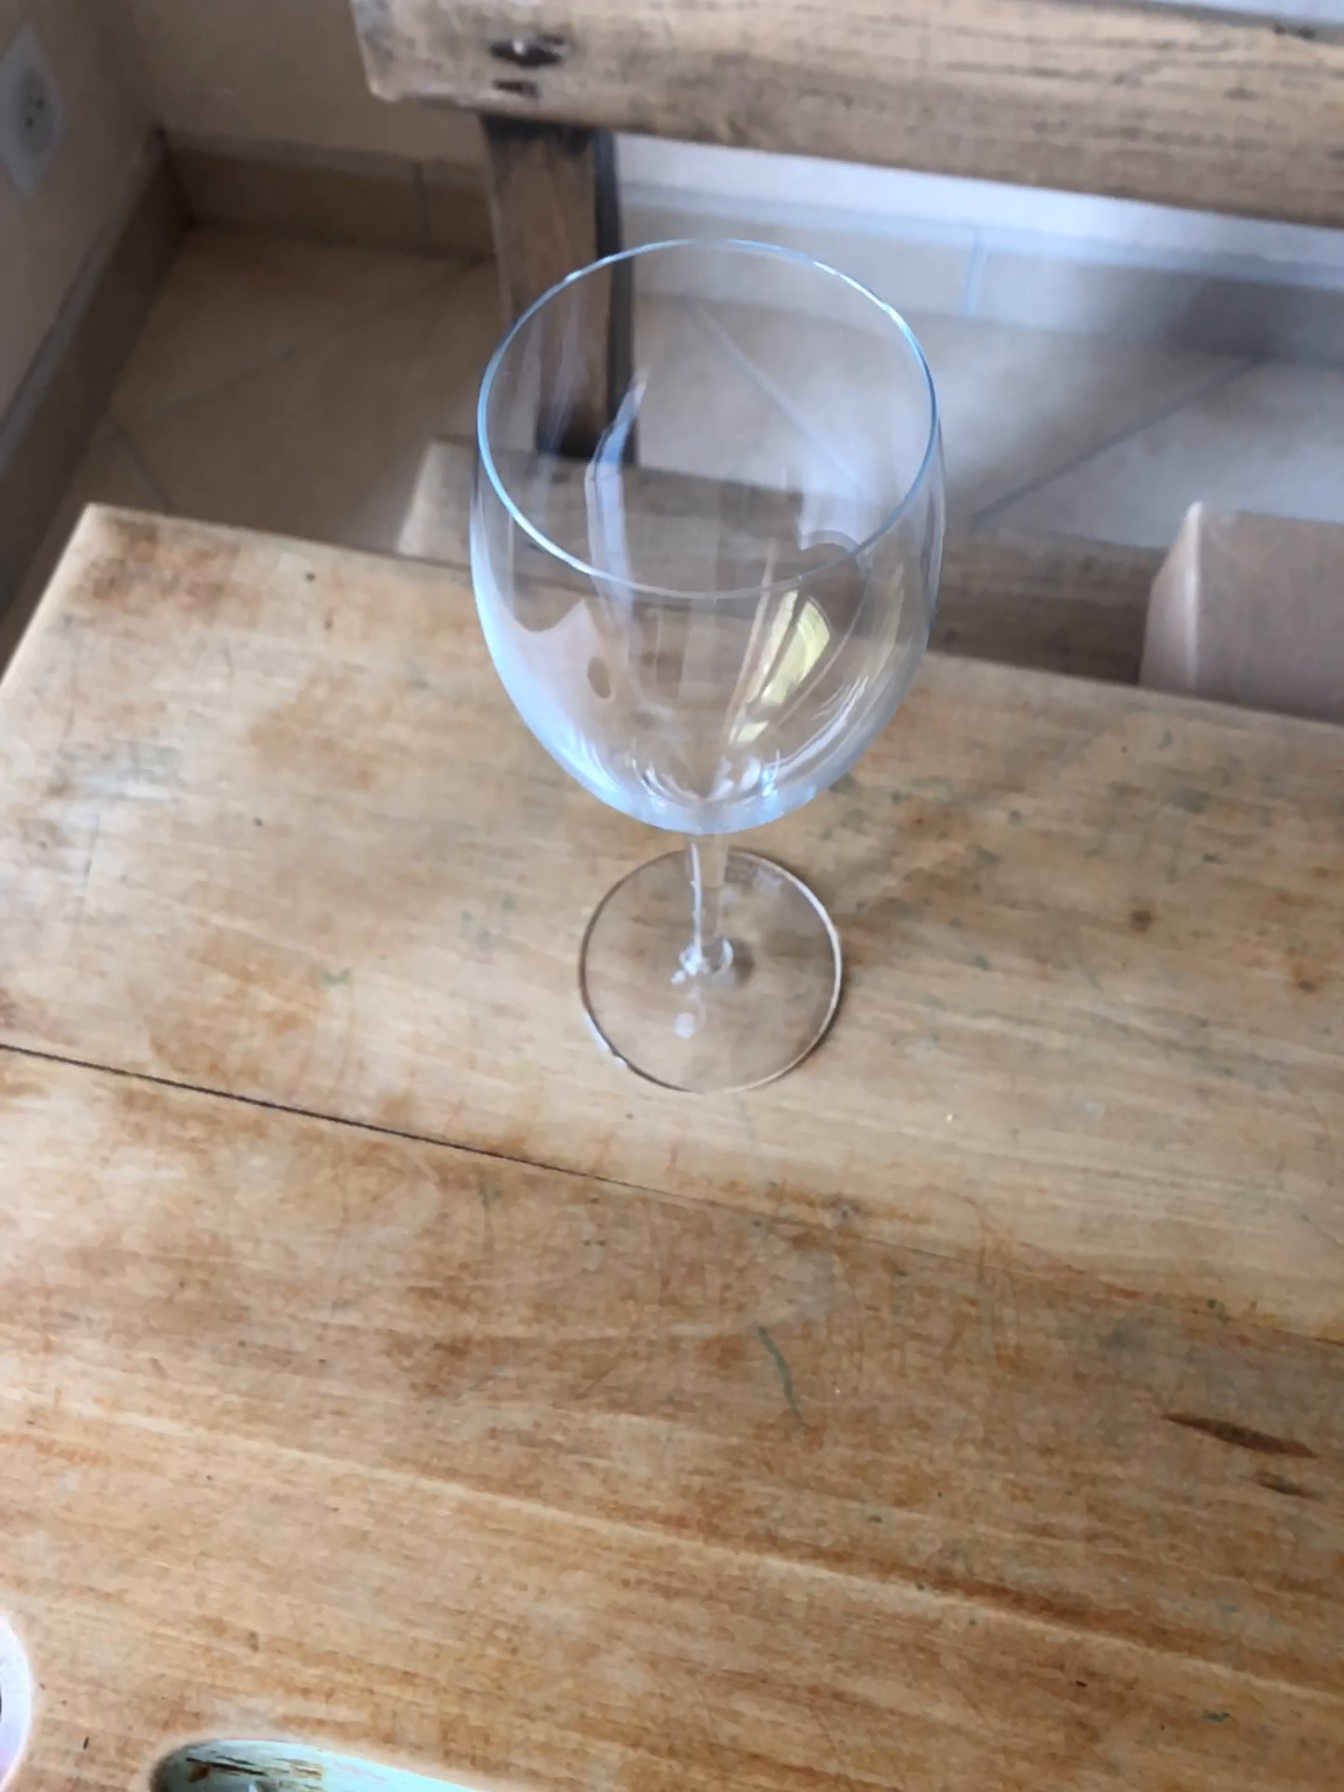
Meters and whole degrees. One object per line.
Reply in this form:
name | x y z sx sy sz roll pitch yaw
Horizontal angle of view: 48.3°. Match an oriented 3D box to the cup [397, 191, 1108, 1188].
cup | 0.009 -0.015 0.289 0.080 0.209 0.080 -1 65 1
